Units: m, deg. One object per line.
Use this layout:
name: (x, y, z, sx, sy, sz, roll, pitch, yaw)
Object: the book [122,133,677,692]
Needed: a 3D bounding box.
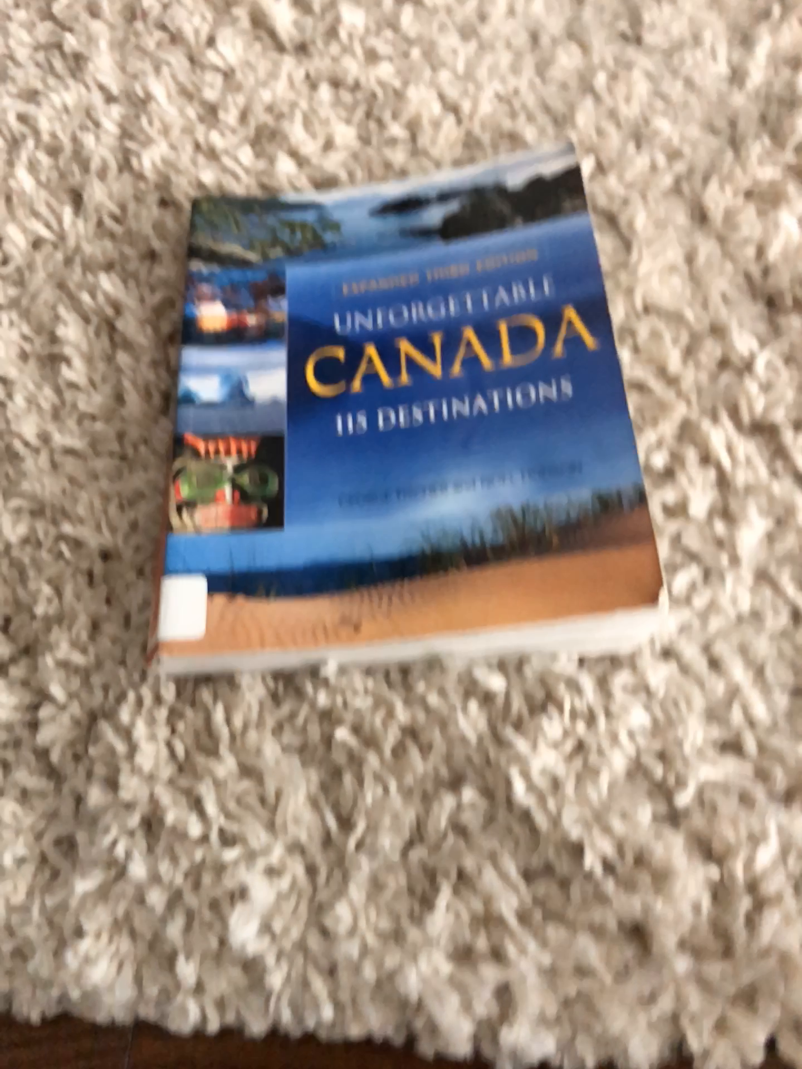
book: (-0.006, -0.060, 0.389, 0.200, 0.040, 0.235, -6, 63, 8)
